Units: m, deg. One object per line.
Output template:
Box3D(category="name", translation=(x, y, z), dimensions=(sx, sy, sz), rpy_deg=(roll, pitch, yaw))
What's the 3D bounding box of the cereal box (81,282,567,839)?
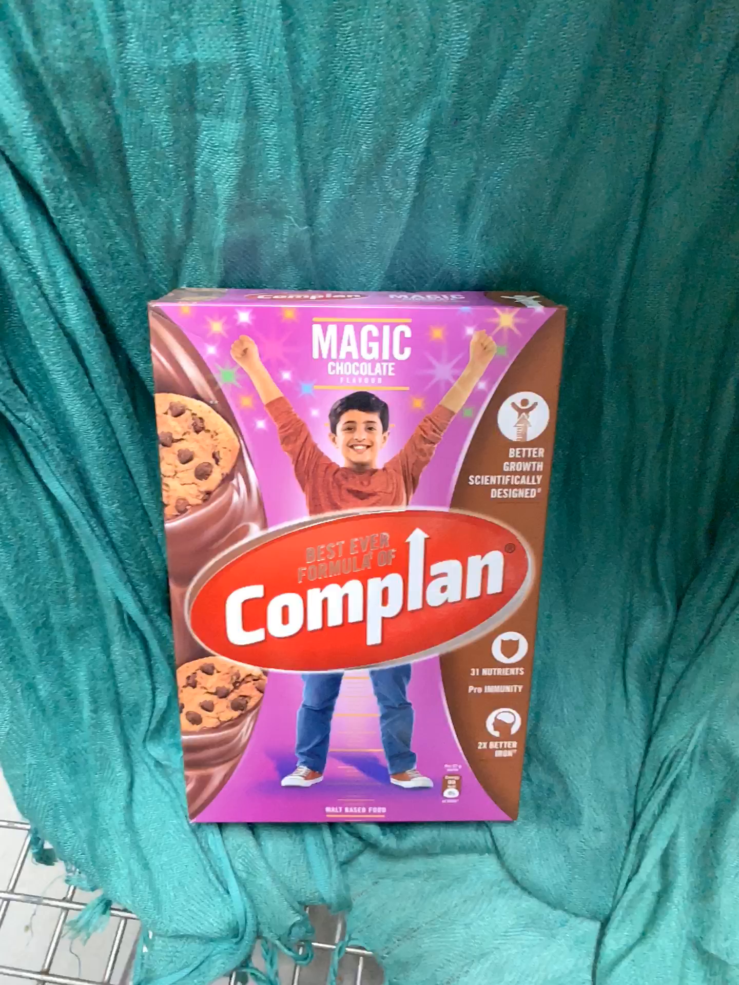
Box3D(category="cereal box", translation=(-0.015, 0.030, 0.307), dimensions=(0.160, 0.220, 0.050), rpy_deg=(0, 17, 0))
